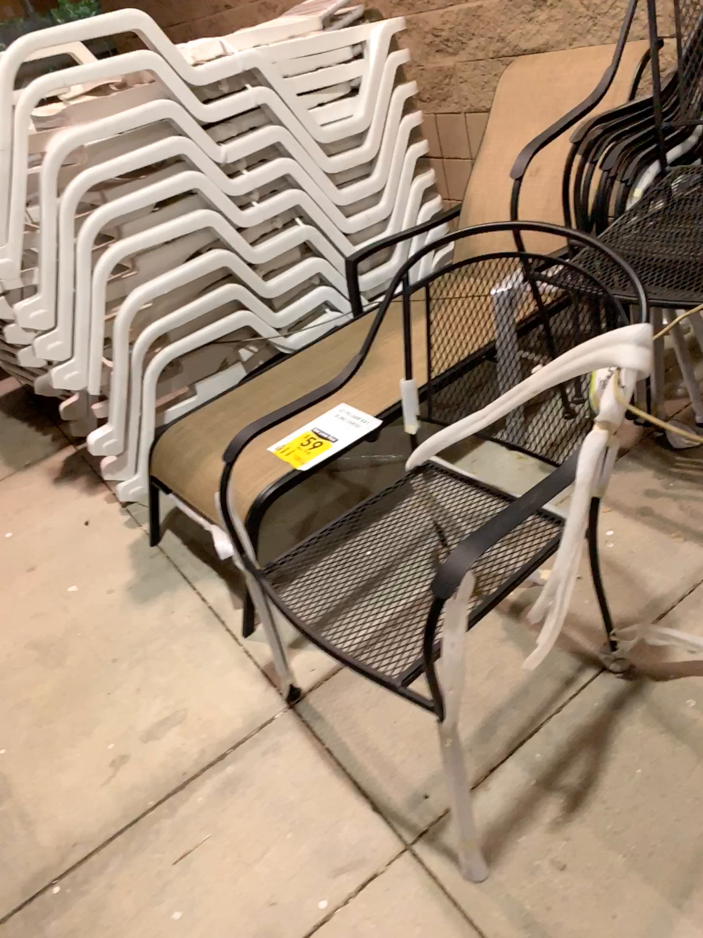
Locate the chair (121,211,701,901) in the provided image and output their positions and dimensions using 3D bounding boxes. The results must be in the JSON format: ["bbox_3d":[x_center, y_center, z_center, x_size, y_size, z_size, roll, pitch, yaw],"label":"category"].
[{"bbox_3d":[0.158,0.100,1.279,0.639,0.869,0.576,-34,37,-26],"label":"chair"}]
